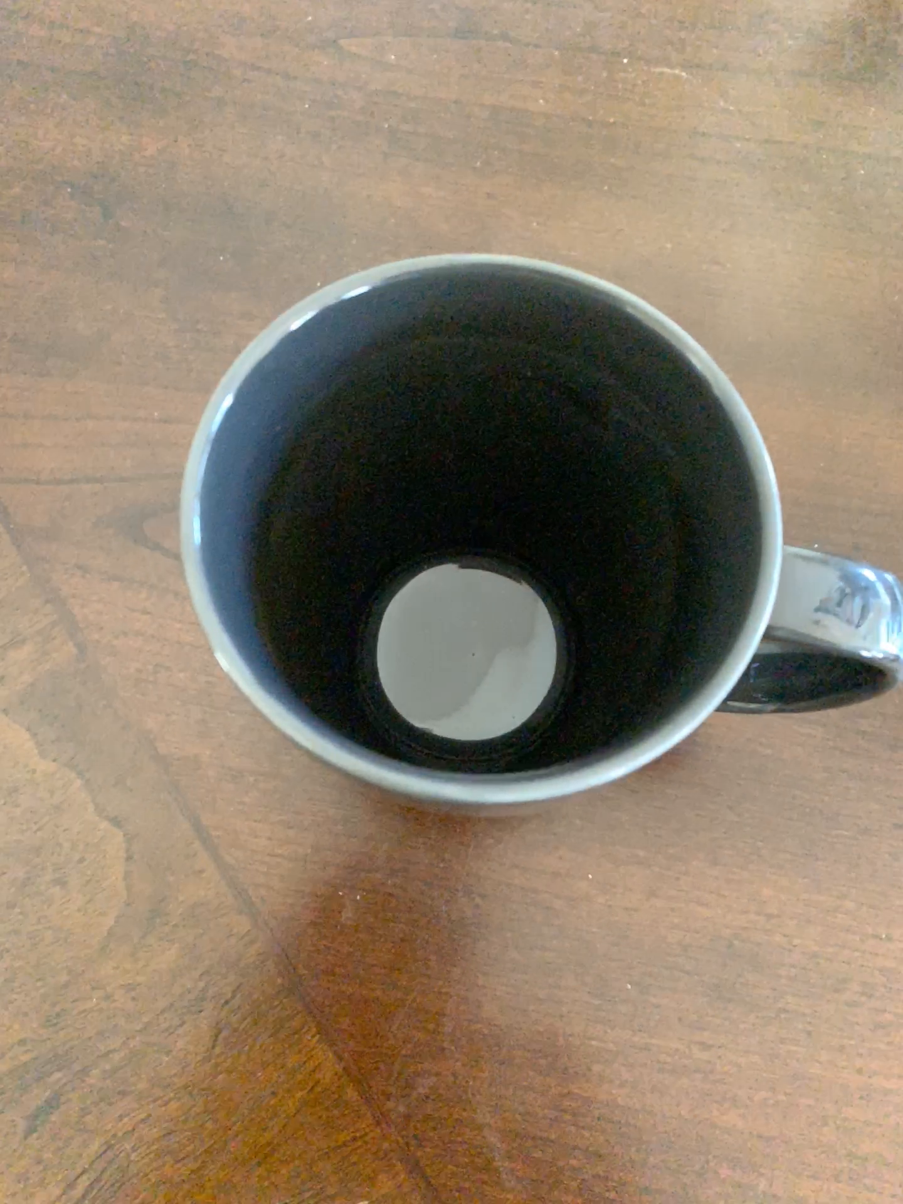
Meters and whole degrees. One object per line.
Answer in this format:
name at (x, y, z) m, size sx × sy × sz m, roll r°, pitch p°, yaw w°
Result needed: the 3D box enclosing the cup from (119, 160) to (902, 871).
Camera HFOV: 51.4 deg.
cup at (0.018, -0.004, 0.170) m, size 0.107 × 0.096 × 0.089 m, roll 6°, pitch 75°, yaw 3°
